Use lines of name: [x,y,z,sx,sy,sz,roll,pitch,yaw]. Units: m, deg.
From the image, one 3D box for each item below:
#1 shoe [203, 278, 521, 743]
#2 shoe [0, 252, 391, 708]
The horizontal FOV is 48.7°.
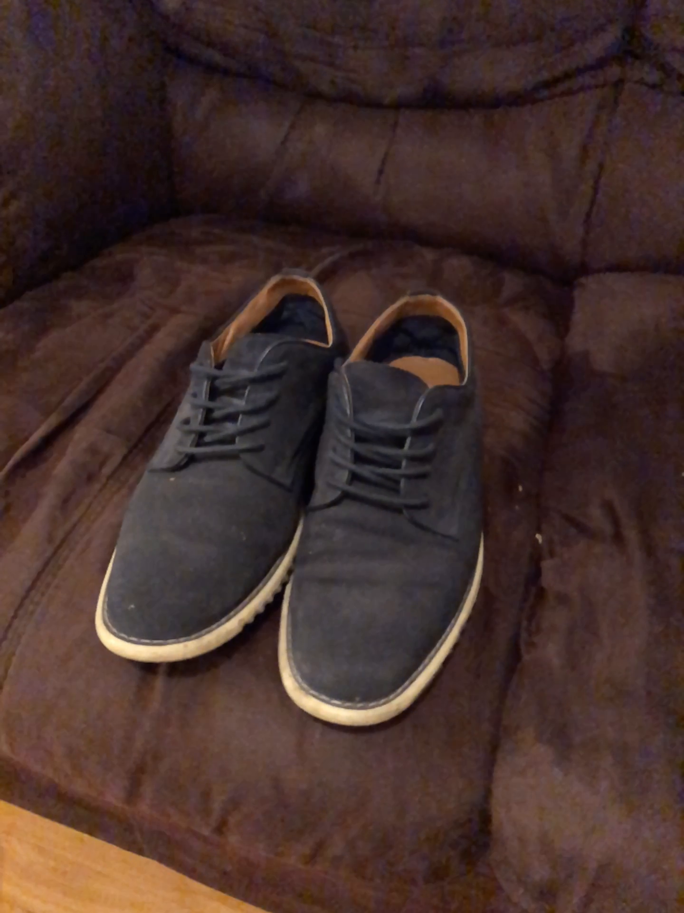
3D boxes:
shoe: [0.032,0.004,0.452,0.120,0.079,0.292,8,42,11]
shoe: [-0.064,-0.011,0.476,0.120,0.099,0.292,11,42,13]
